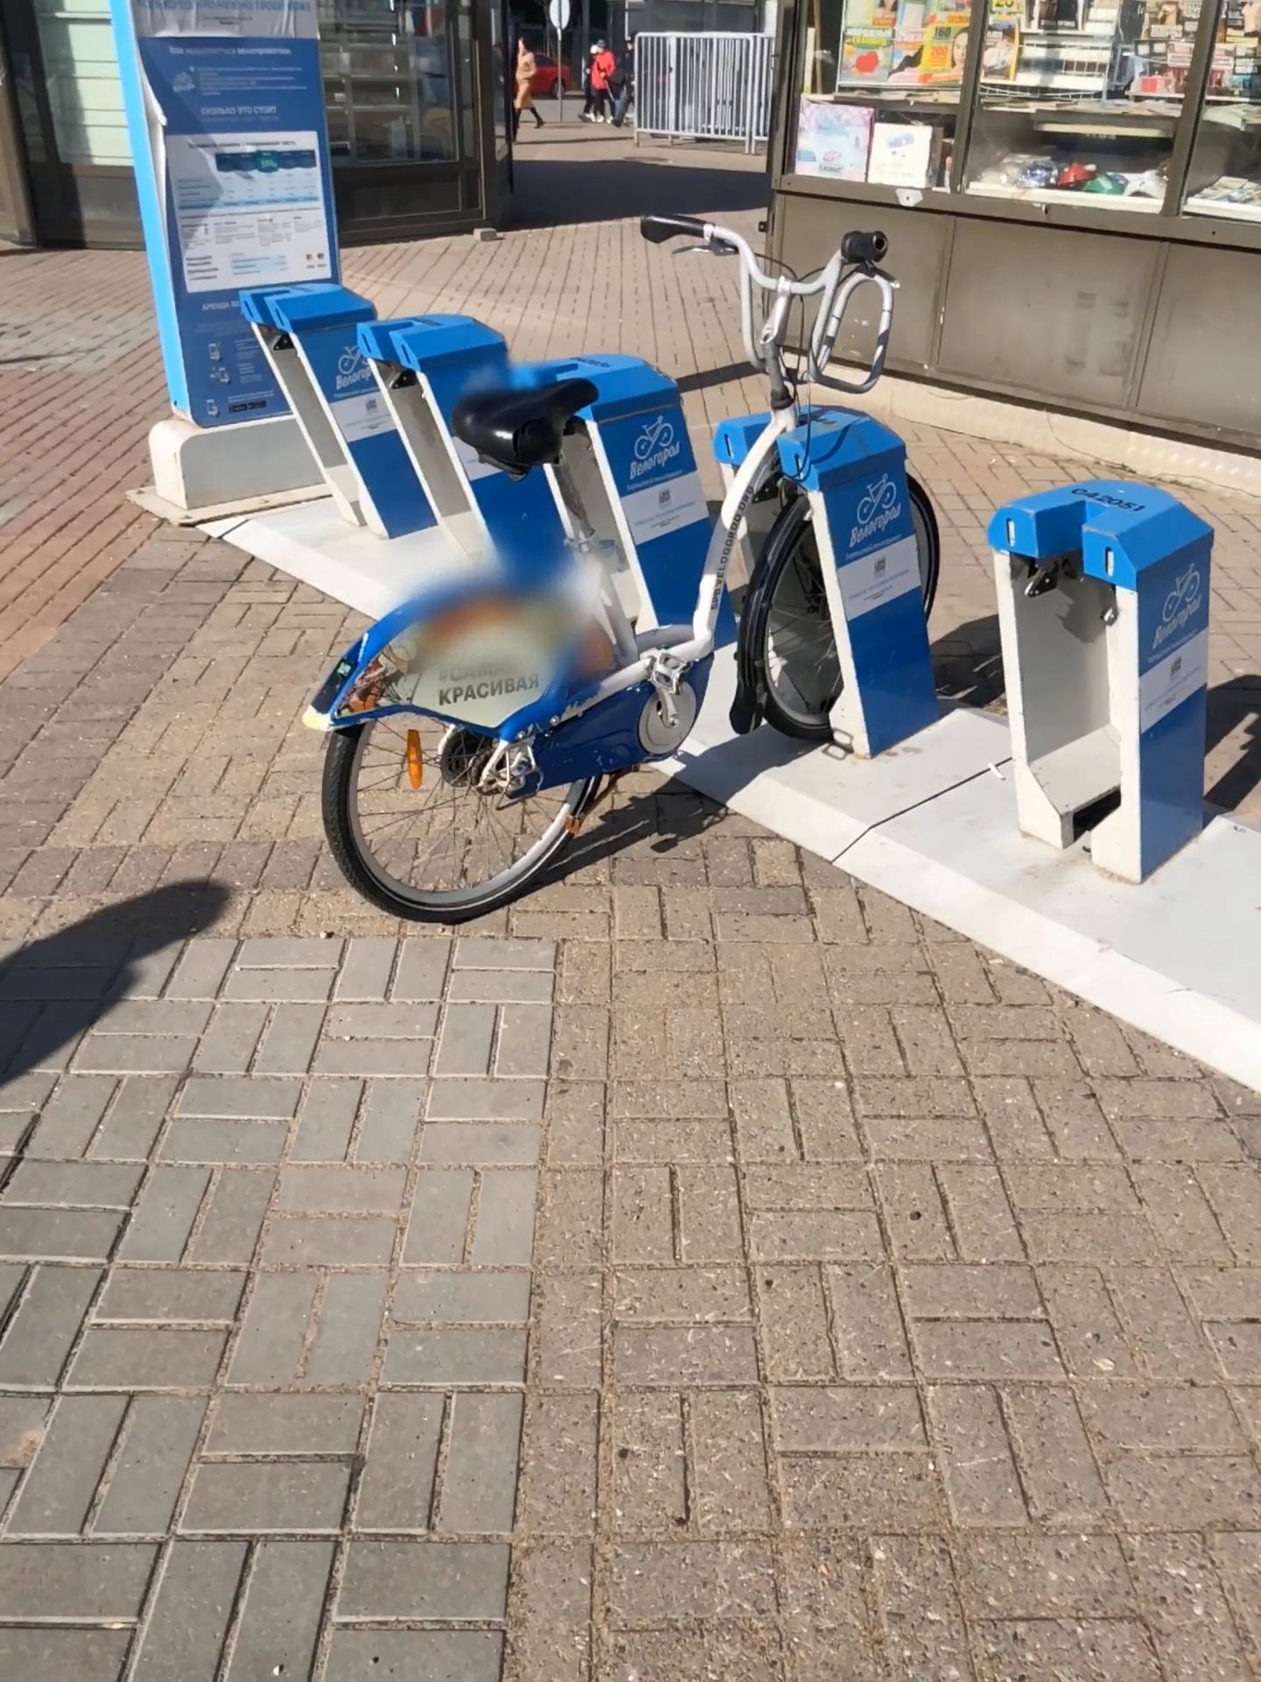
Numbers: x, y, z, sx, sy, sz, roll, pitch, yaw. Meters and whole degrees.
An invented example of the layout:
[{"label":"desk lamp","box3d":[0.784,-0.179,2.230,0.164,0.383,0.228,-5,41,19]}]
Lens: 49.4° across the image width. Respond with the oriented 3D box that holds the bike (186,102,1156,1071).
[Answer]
[{"label":"bike","box3d":[0.135,-0.593,2.588,1.631,1.203,0.597,-26,39,-33]}]
